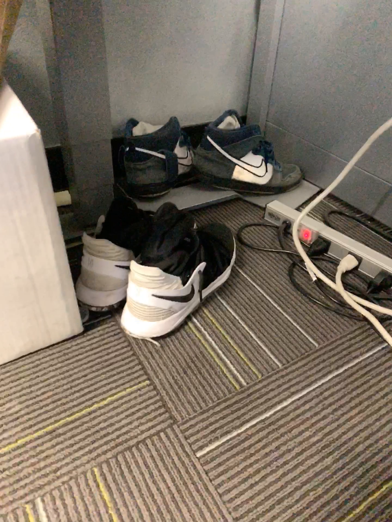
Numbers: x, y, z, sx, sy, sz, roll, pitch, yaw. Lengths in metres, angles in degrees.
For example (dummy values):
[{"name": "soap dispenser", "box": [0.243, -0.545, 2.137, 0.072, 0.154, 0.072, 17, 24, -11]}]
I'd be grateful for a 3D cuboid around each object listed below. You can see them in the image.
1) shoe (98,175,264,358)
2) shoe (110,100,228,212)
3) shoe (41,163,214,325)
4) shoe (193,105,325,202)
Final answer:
[{"name": "shoe", "box": [-0.009, -0.009, 0.630, 0.100, 0.129, 0.291, 23, 43, 23]}, {"name": "shoe", "box": [-0.056, -0.271, 0.977, 0.130, 0.169, 0.331, 19, 34, 19]}, {"name": "shoe", "box": [-0.098, -0.046, 0.694, 0.100, 0.129, 0.301, 26, 44, 25]}, {"name": "shoe", "box": [0.142, -0.259, 0.976, 0.260, 0.159, 0.131, 5, 37, -11]}]
